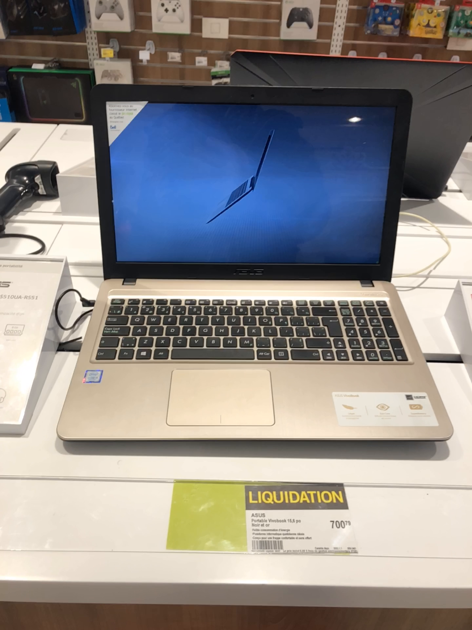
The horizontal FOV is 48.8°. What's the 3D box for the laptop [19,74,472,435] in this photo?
[{"bbox_3d":[0.021,-0.083,0.561,0.370,0.204,0.339,1,42,-3],"label":"laptop"}]
